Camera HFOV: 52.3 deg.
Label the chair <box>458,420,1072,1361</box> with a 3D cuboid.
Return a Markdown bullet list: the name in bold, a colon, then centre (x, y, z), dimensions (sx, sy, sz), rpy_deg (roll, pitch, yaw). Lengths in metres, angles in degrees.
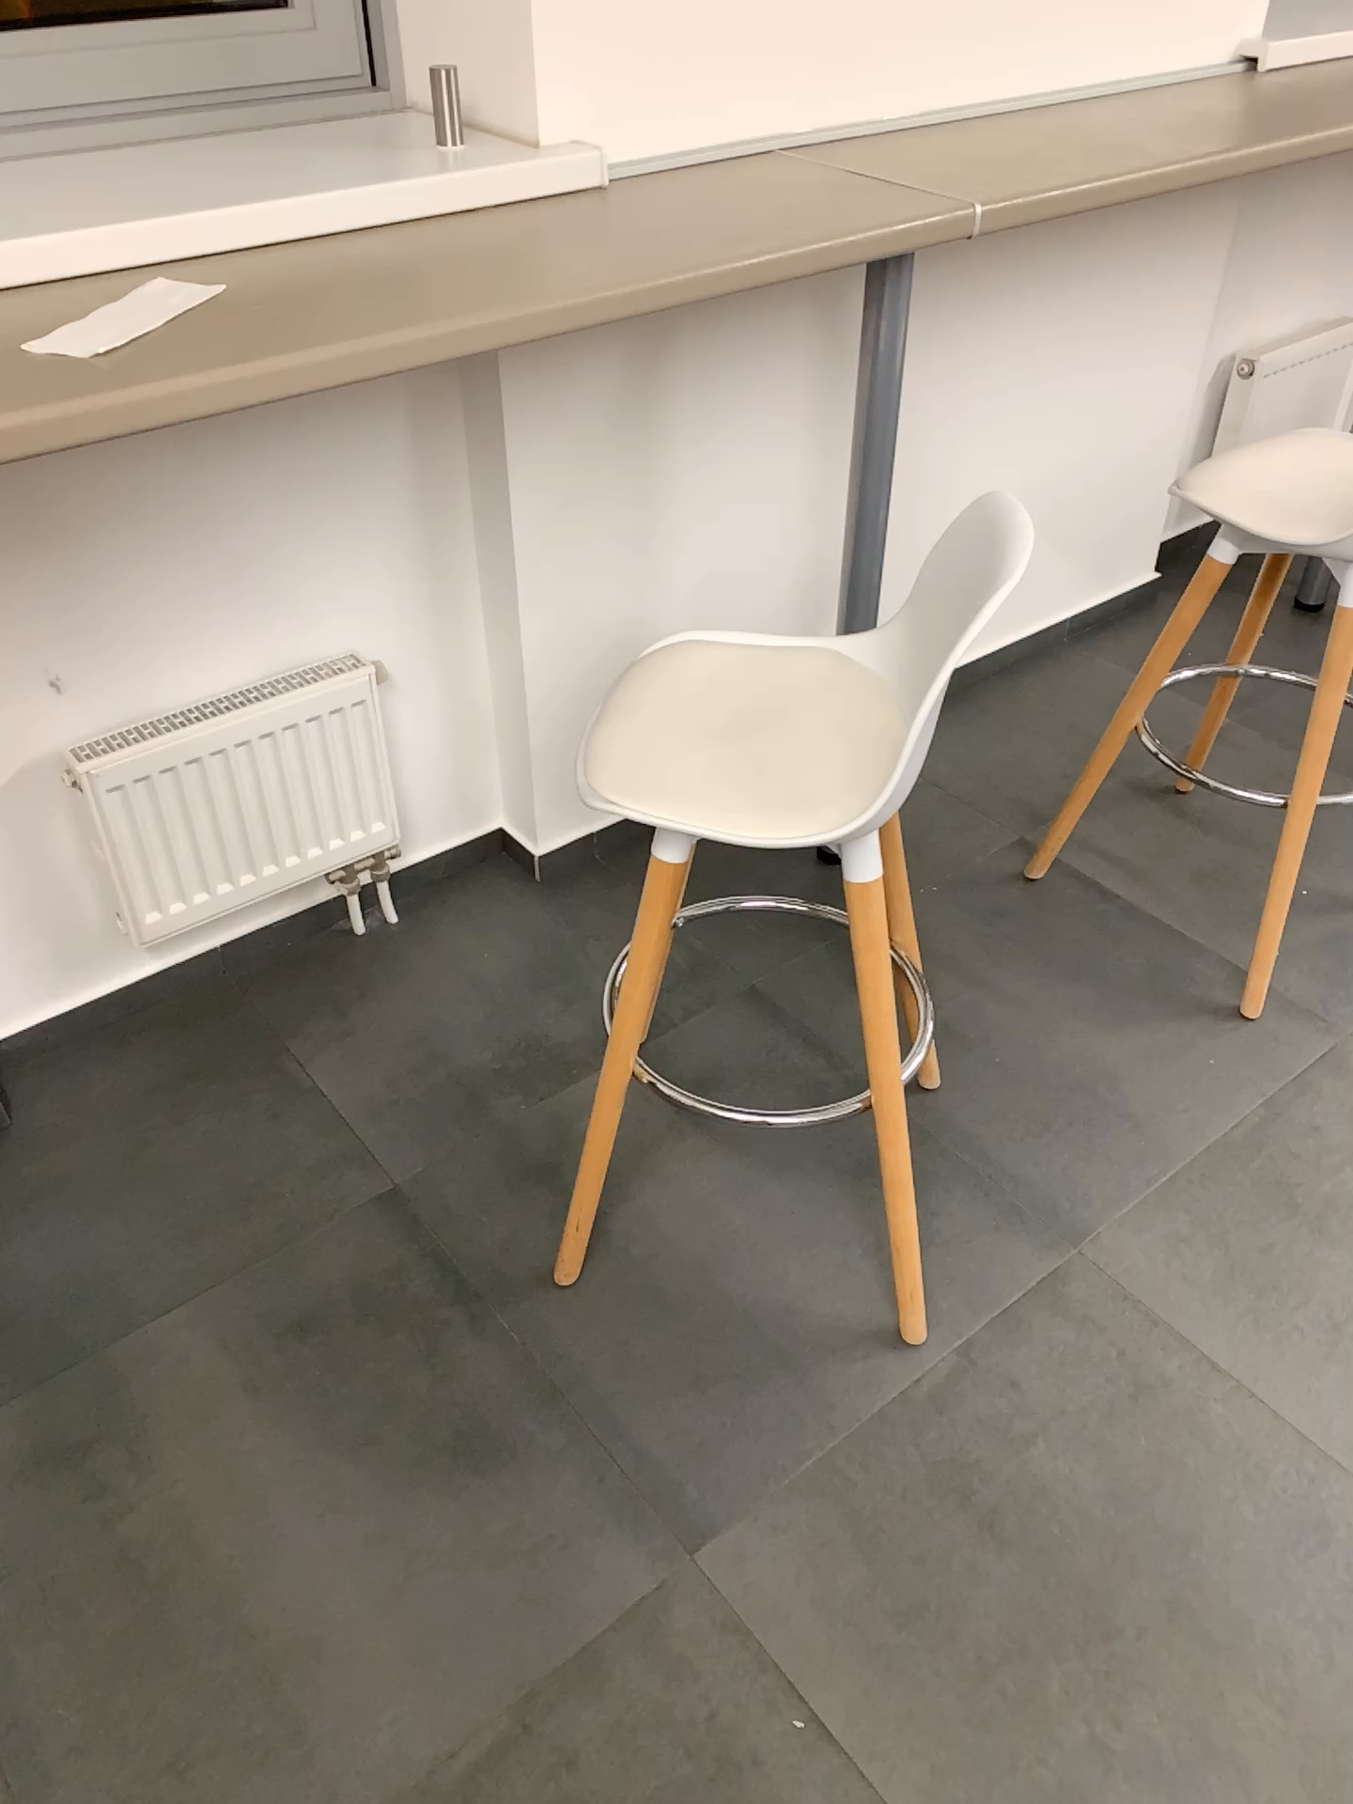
- **chair**: centre (0.105, 0.008, 1.532), dimensions (0.480, 0.885, 0.483), rpy_deg (7, 39, 8)
